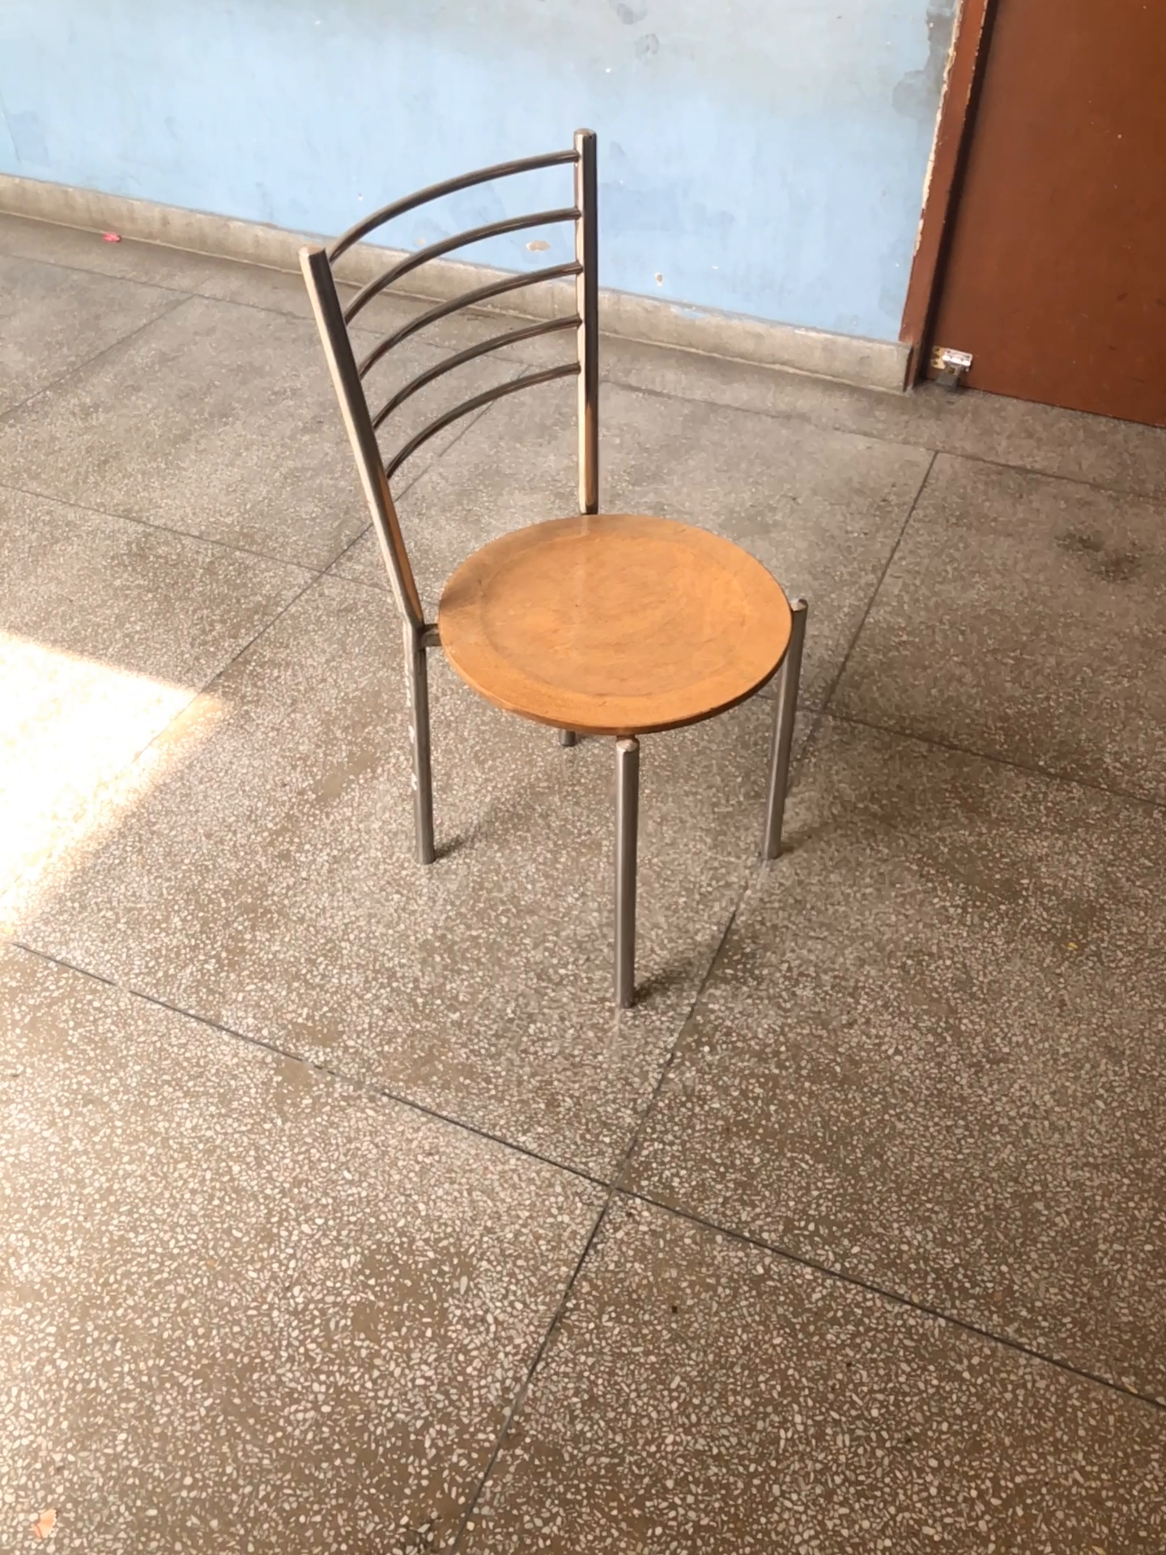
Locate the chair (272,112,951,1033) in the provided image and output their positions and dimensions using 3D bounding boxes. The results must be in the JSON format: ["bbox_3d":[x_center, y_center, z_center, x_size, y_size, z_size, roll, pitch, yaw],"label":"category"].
[{"bbox_3d":[0.031,-0.201,1.382,0.421,0.777,0.421,28,50,26],"label":"chair"}]
